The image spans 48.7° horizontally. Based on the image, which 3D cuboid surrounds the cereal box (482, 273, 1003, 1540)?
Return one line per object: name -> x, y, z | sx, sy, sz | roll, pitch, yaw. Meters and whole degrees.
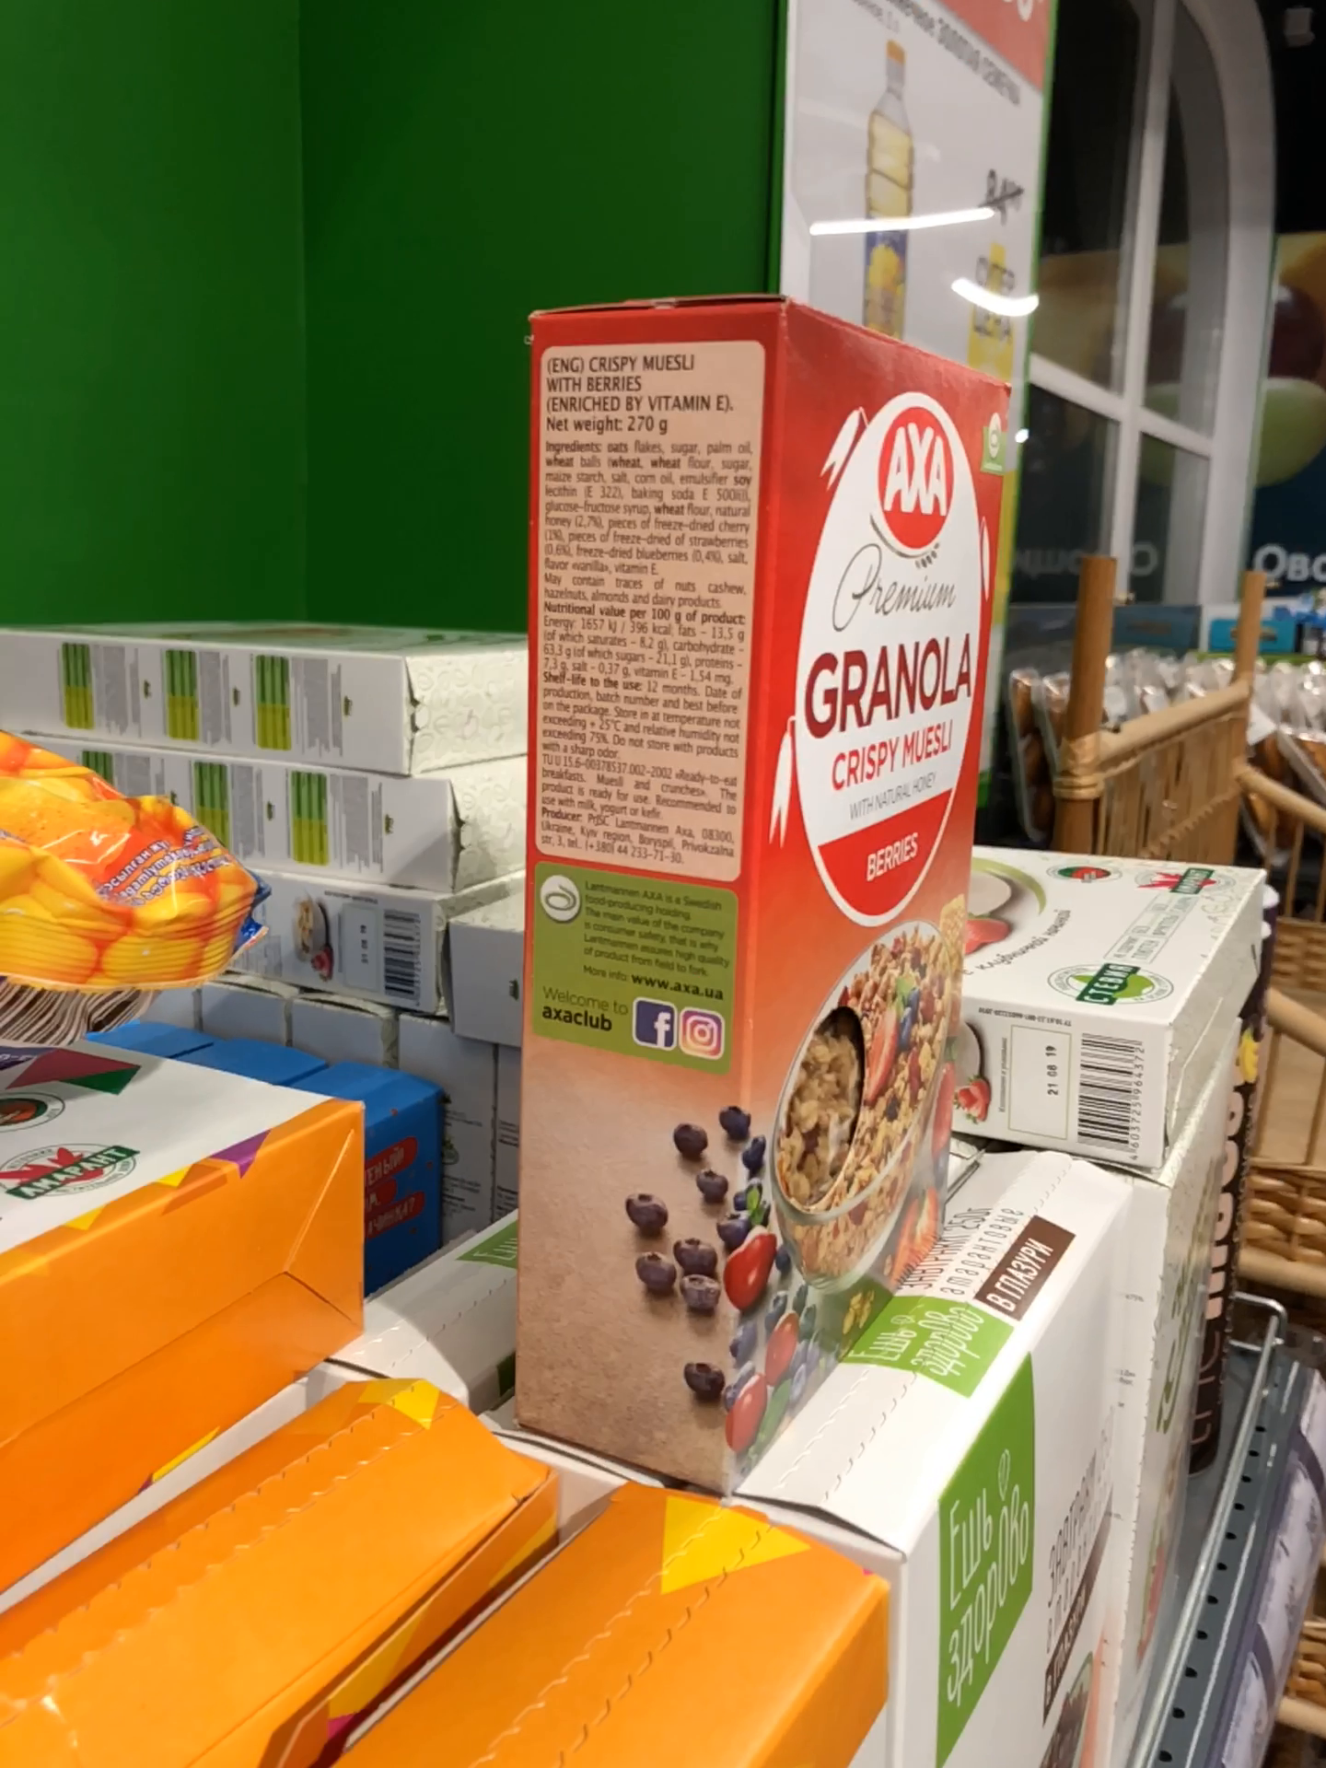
cereal box -> 0.021, -0.001, 0.315 | 0.050, 0.219, 0.130 | 9, 13, 27
